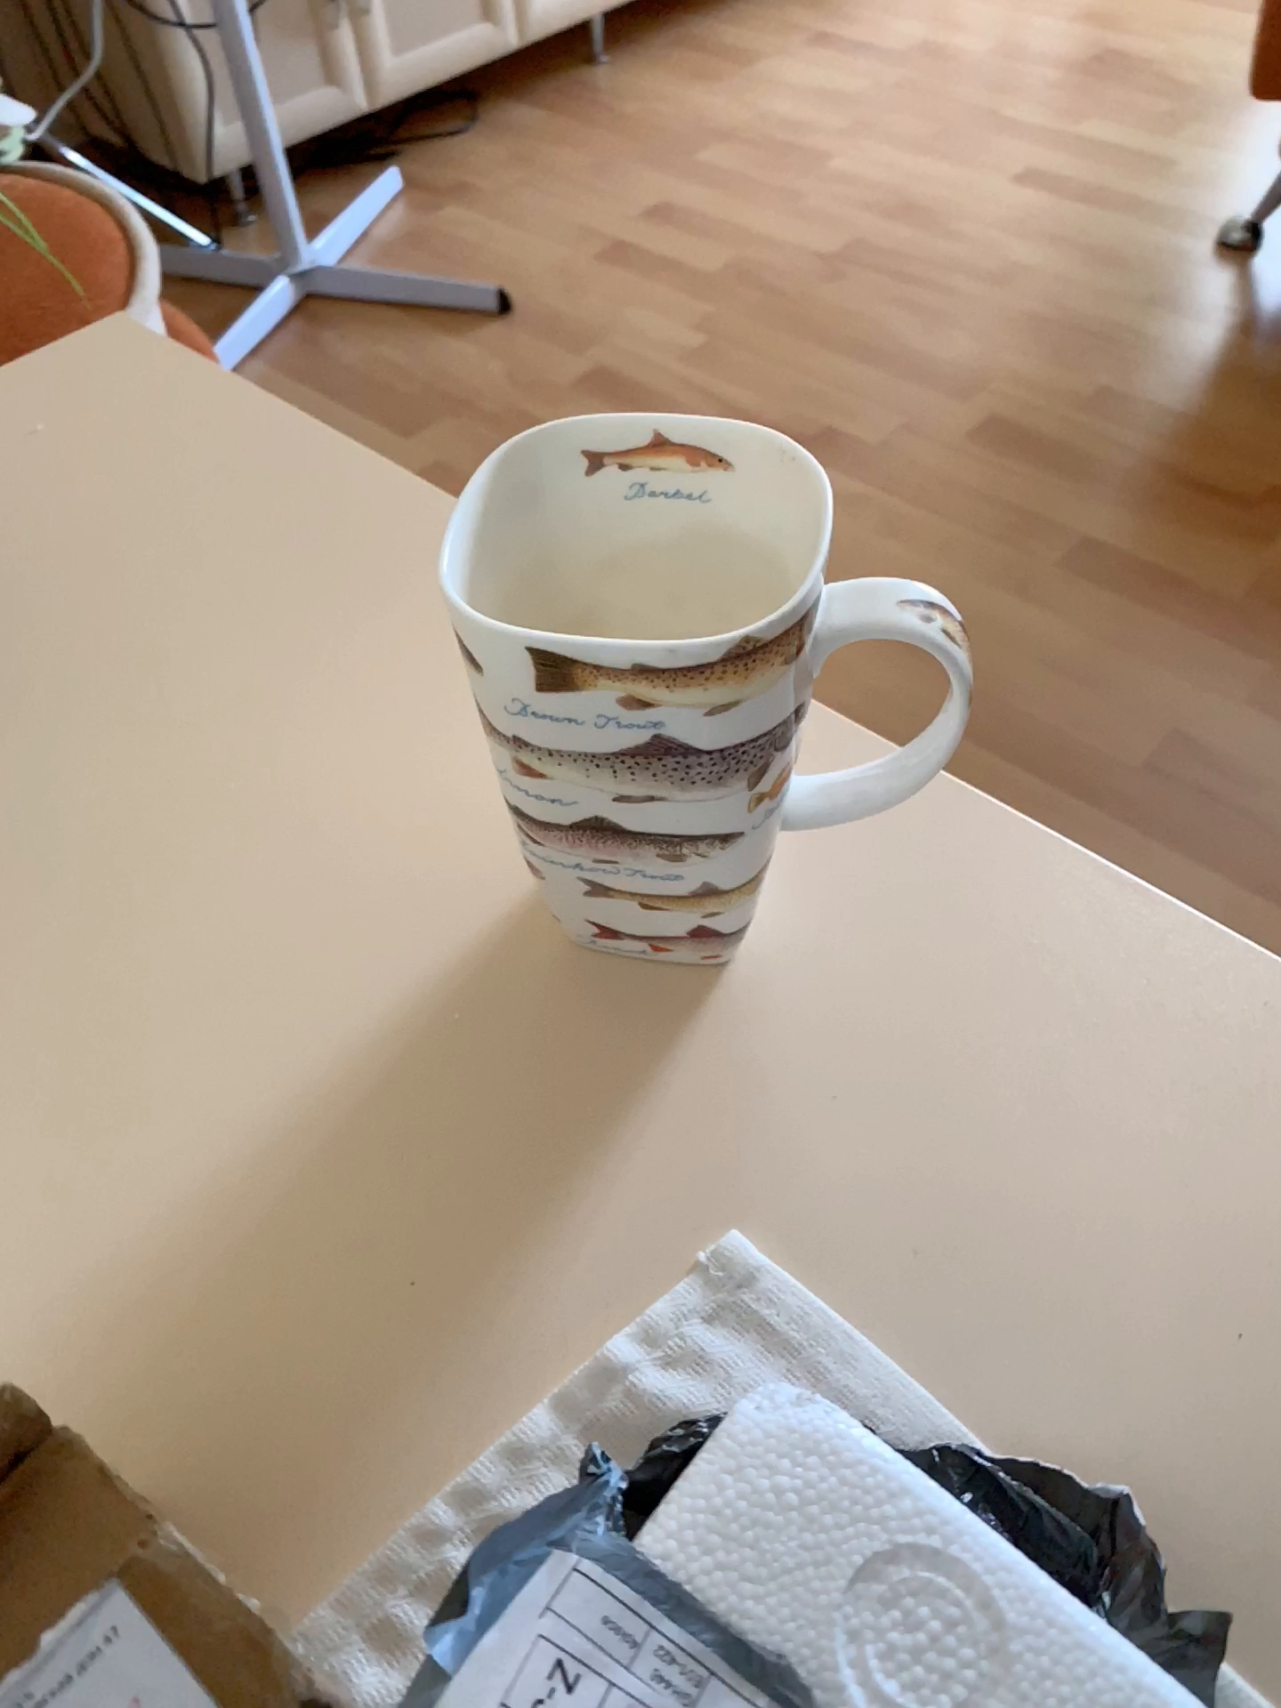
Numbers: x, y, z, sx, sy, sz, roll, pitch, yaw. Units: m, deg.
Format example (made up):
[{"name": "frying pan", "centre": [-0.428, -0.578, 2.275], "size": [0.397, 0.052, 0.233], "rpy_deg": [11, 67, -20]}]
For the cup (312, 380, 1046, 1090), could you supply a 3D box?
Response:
[{"name": "cup", "centre": [0.017, -0.029, 0.335], "size": [0.140, 0.129, 0.101], "rpy_deg": [9, 51, 12]}]
